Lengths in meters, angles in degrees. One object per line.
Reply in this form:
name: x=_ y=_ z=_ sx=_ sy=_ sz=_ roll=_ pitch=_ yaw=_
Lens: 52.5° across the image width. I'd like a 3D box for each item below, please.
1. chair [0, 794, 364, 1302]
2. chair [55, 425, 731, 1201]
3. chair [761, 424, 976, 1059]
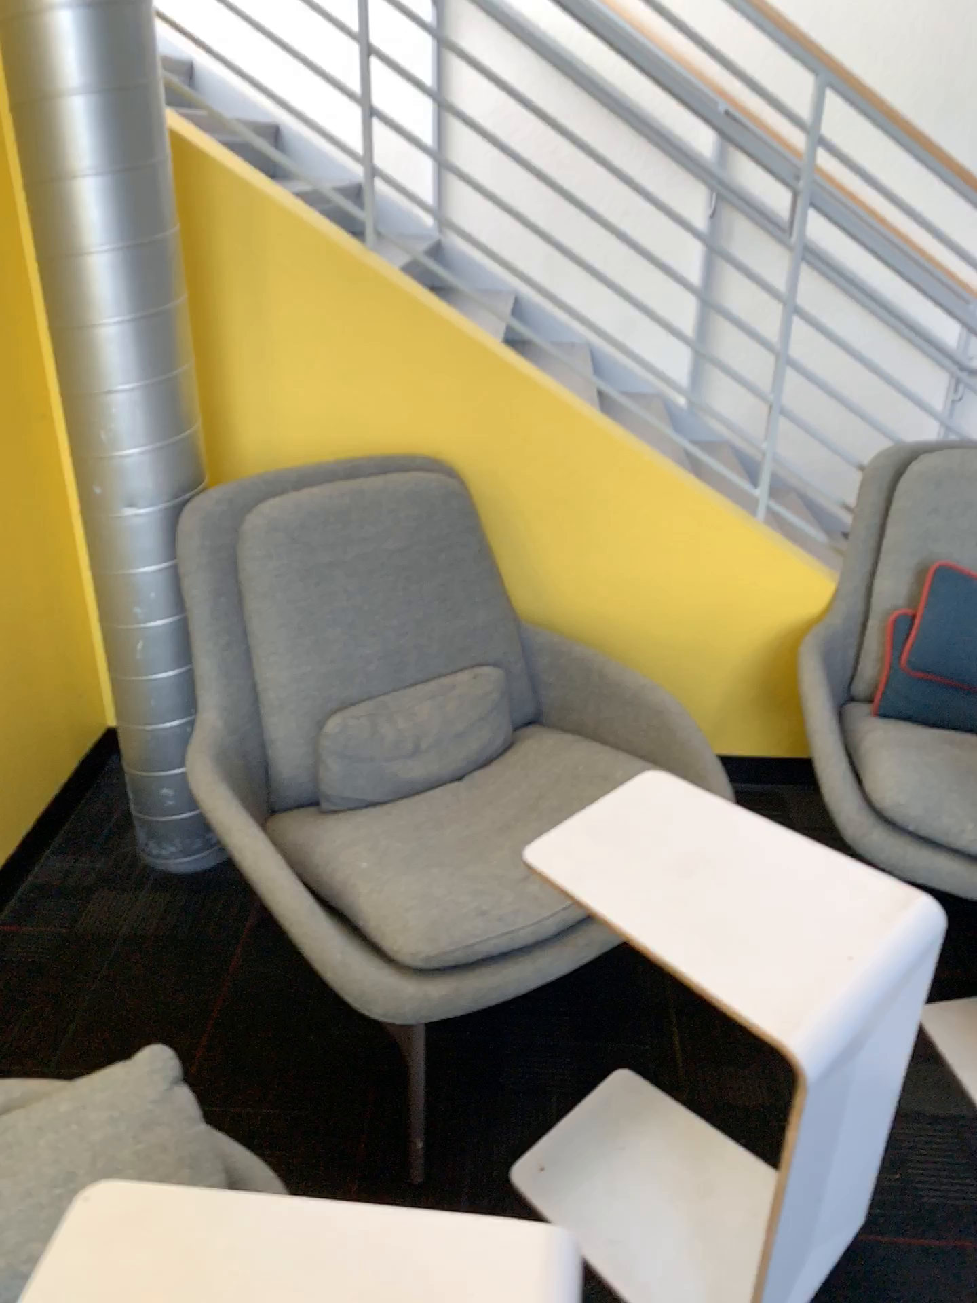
chair: x=-0.559 y=0.735 z=0.603 sx=0.870 sy=0.925 sz=0.805 roll=-4 pitch=26 yaw=-4
chair: x=-0.177 y=0.187 z=1.977 sx=0.891 sy=1.014 sz=0.844 roll=-19 pitch=30 yaw=-34
chair: x=1.089 y=0.094 z=2.120 sx=0.871 sy=0.945 sz=0.884 roll=6 pitch=24 yaw=13
